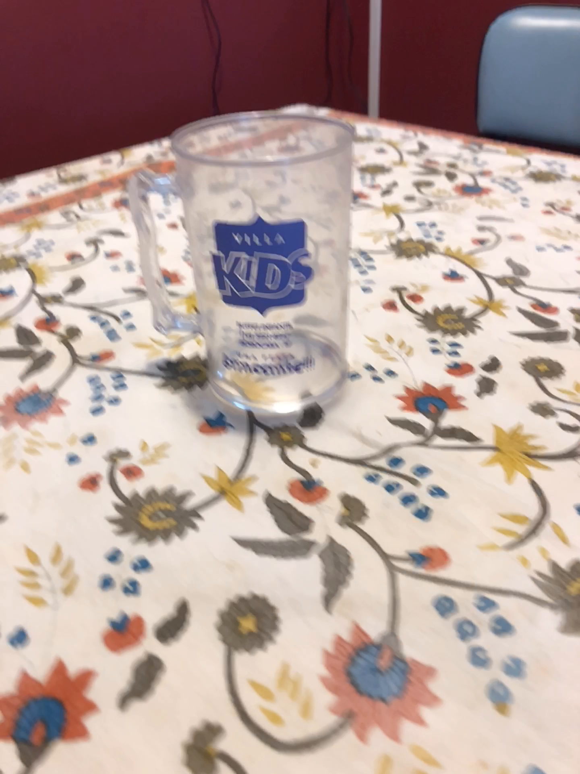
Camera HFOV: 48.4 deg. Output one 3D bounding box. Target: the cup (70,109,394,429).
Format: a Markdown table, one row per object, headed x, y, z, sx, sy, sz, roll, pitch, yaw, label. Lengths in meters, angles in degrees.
| x | y | z | sx | sy | sz | roll | pitch | yaw | label |
| --- | --- | --- | --- | --- | --- | --- | --- | --- | --- |
| -0.014 | -0.054 | 0.281 | 0.110 | 0.109 | 0.081 | 4 | 35 | 10 | cup |
